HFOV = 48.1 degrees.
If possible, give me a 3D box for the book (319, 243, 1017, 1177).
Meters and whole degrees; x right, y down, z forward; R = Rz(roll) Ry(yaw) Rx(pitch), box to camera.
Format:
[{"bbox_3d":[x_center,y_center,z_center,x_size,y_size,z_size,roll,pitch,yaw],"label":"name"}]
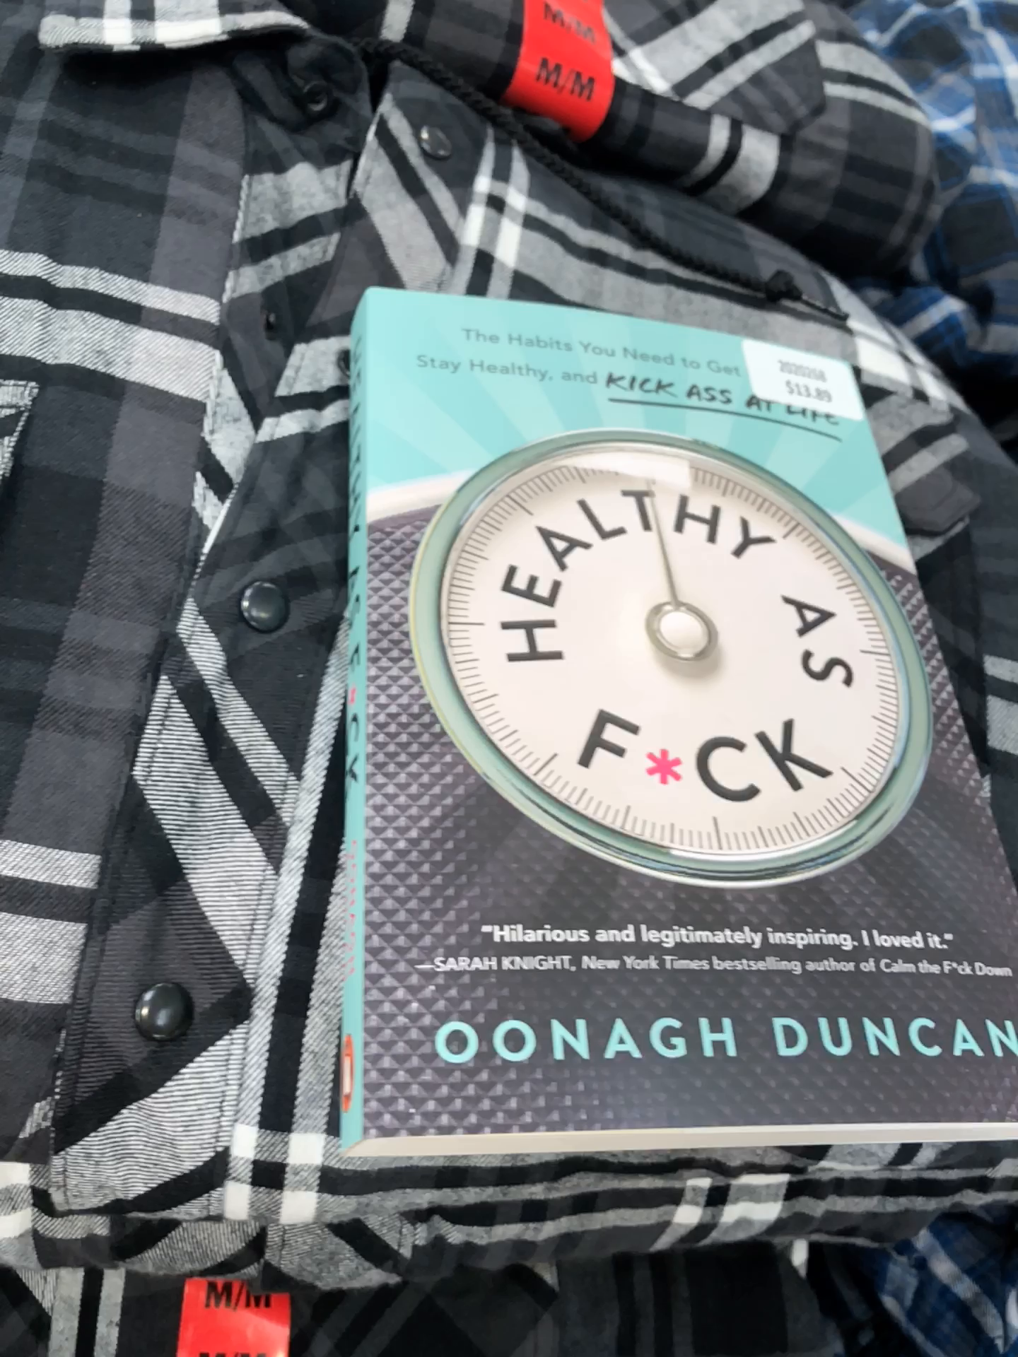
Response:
[{"bbox_3d":[0.035,-0.007,0.287,0.156,0.028,0.238,6,56,-16],"label":"book"}]
